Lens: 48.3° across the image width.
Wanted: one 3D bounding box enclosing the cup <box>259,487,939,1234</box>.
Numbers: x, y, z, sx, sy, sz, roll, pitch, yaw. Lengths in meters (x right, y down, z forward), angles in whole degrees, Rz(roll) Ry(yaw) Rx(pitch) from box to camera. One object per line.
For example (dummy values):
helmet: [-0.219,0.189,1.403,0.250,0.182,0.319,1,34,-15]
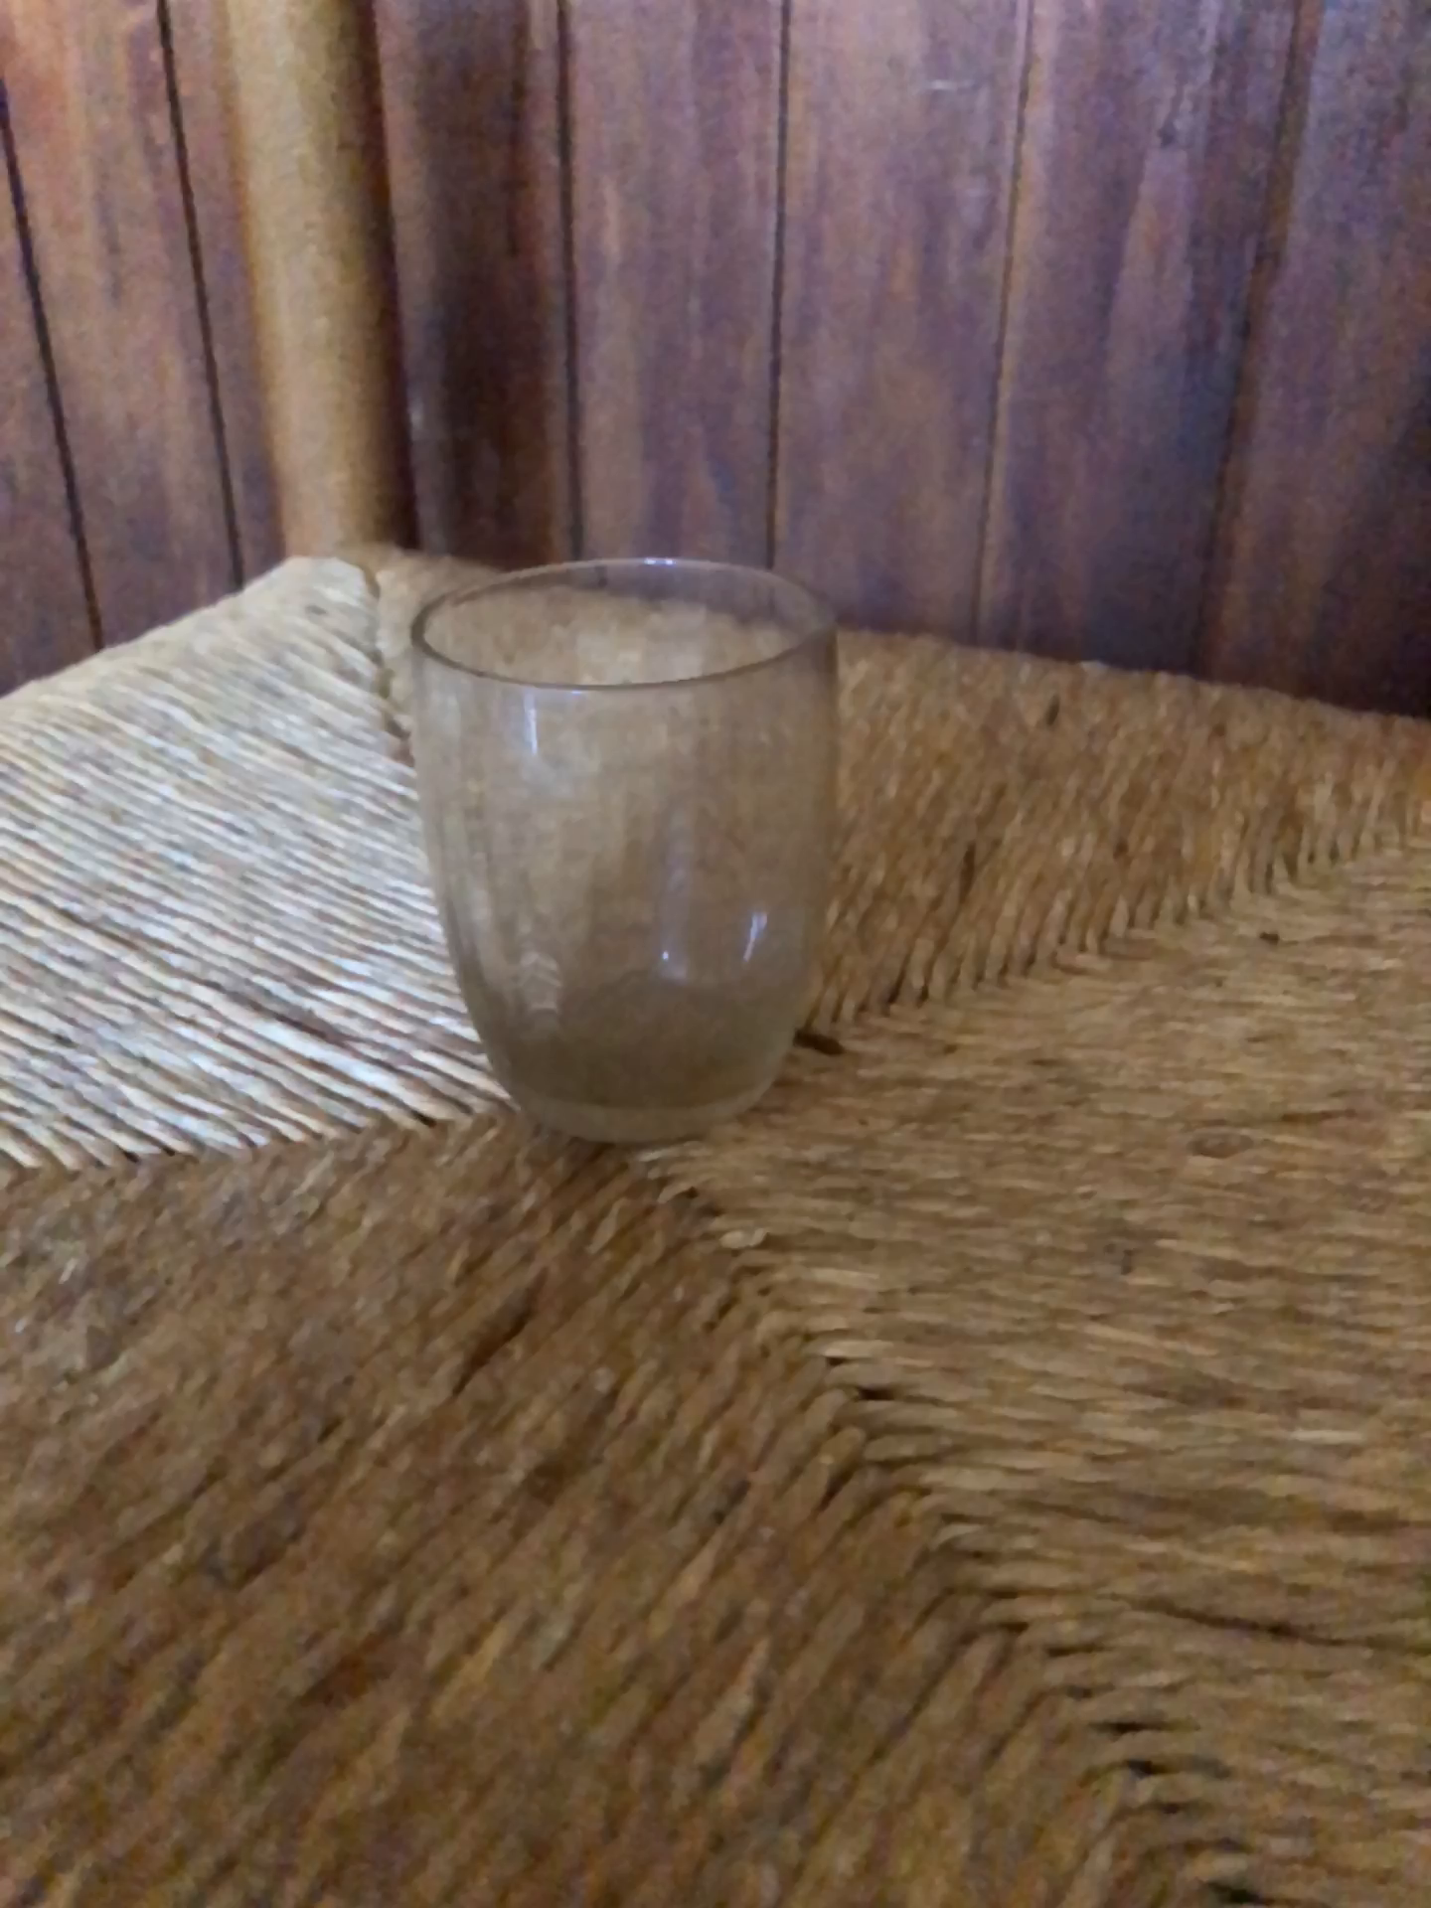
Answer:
cup: [-0.018,-0.020,0.248,0.070,0.080,0.070,1,30,0]
